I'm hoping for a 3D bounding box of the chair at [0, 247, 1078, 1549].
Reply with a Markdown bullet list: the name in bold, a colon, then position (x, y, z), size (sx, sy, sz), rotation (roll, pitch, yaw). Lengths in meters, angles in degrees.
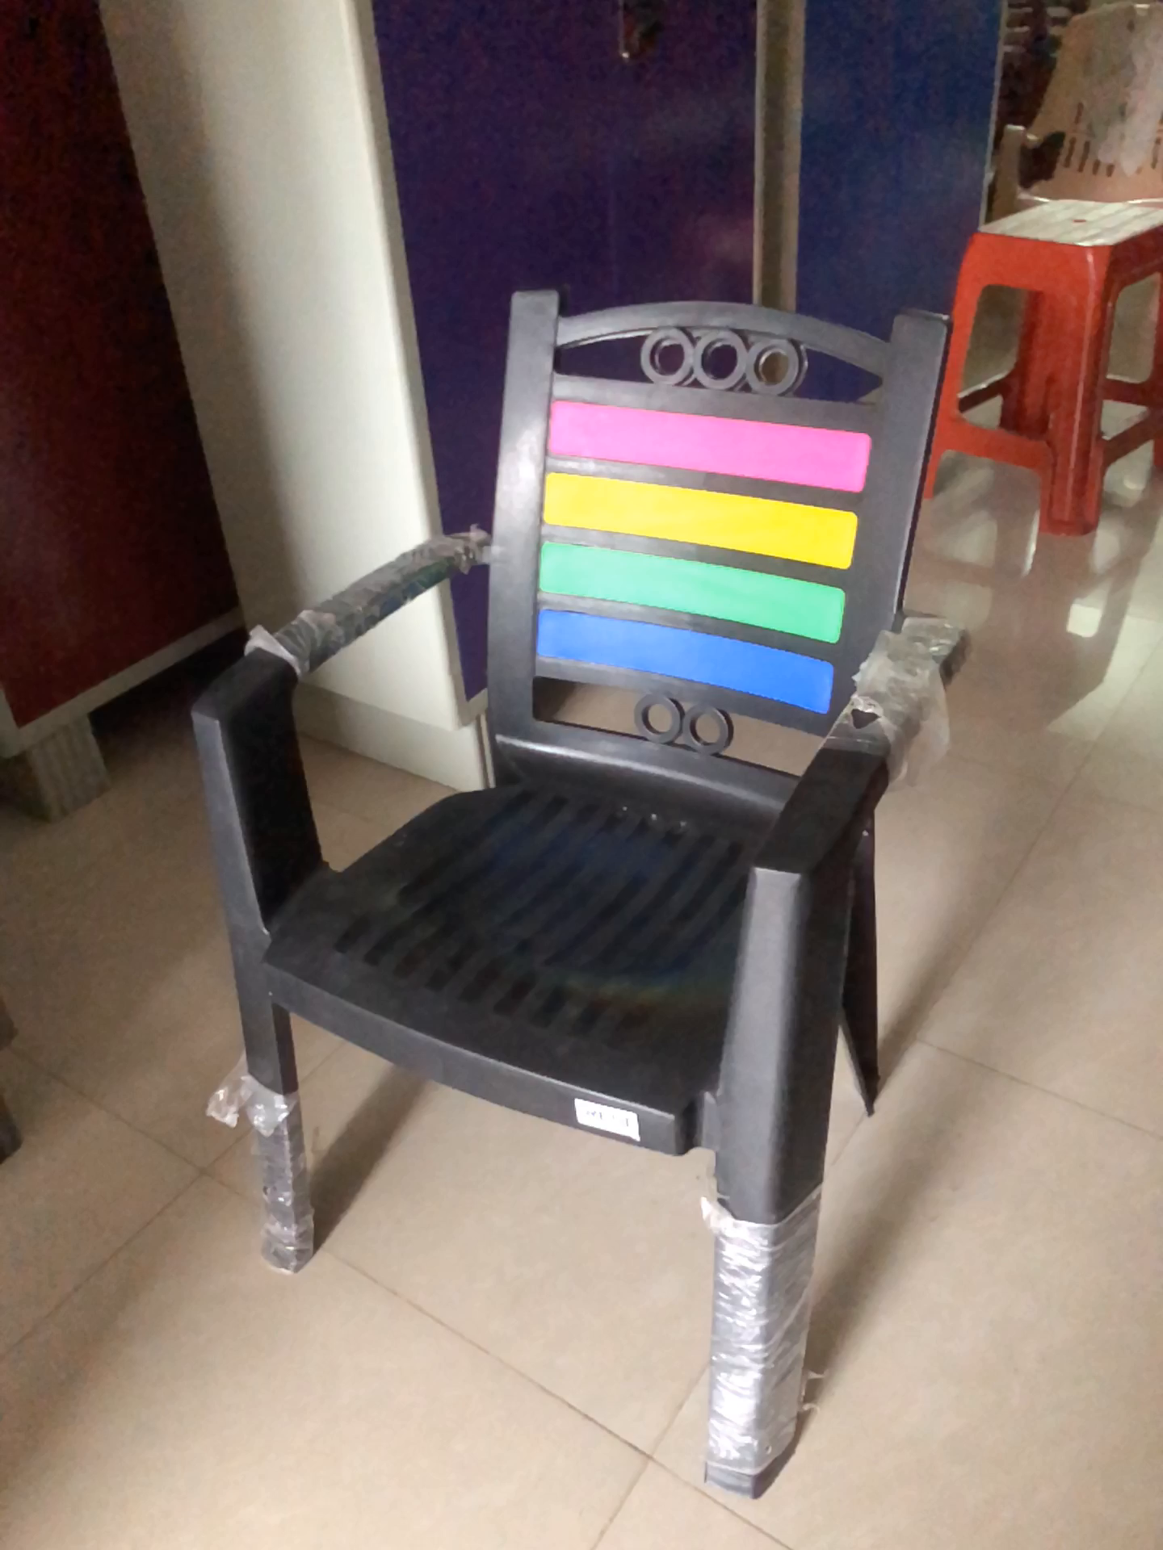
- **chair**: position (0.018, 0.078, 1.258), size (0.640, 0.975, 0.613), rotation (15, 39, 27)
